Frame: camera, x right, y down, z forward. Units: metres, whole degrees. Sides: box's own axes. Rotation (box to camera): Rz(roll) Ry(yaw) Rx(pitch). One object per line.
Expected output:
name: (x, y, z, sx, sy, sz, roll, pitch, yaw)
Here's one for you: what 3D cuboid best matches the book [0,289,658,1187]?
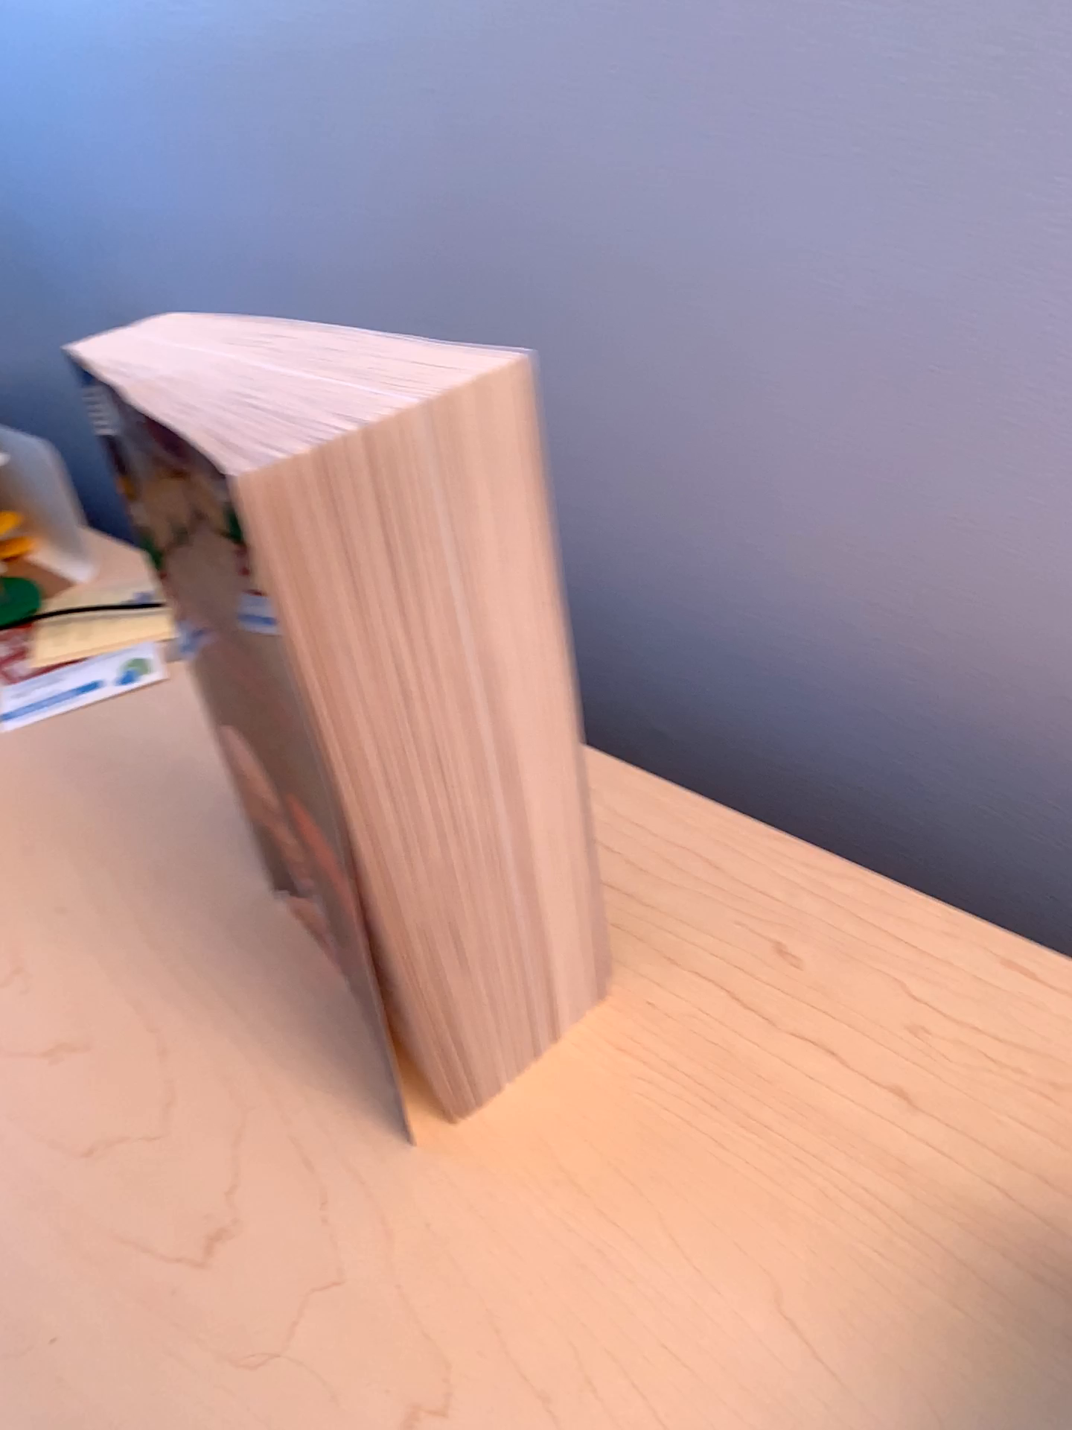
book: (-0.059, 0.001, 0.350, 0.082, 0.228, 0.168, -31, 39, -30)
